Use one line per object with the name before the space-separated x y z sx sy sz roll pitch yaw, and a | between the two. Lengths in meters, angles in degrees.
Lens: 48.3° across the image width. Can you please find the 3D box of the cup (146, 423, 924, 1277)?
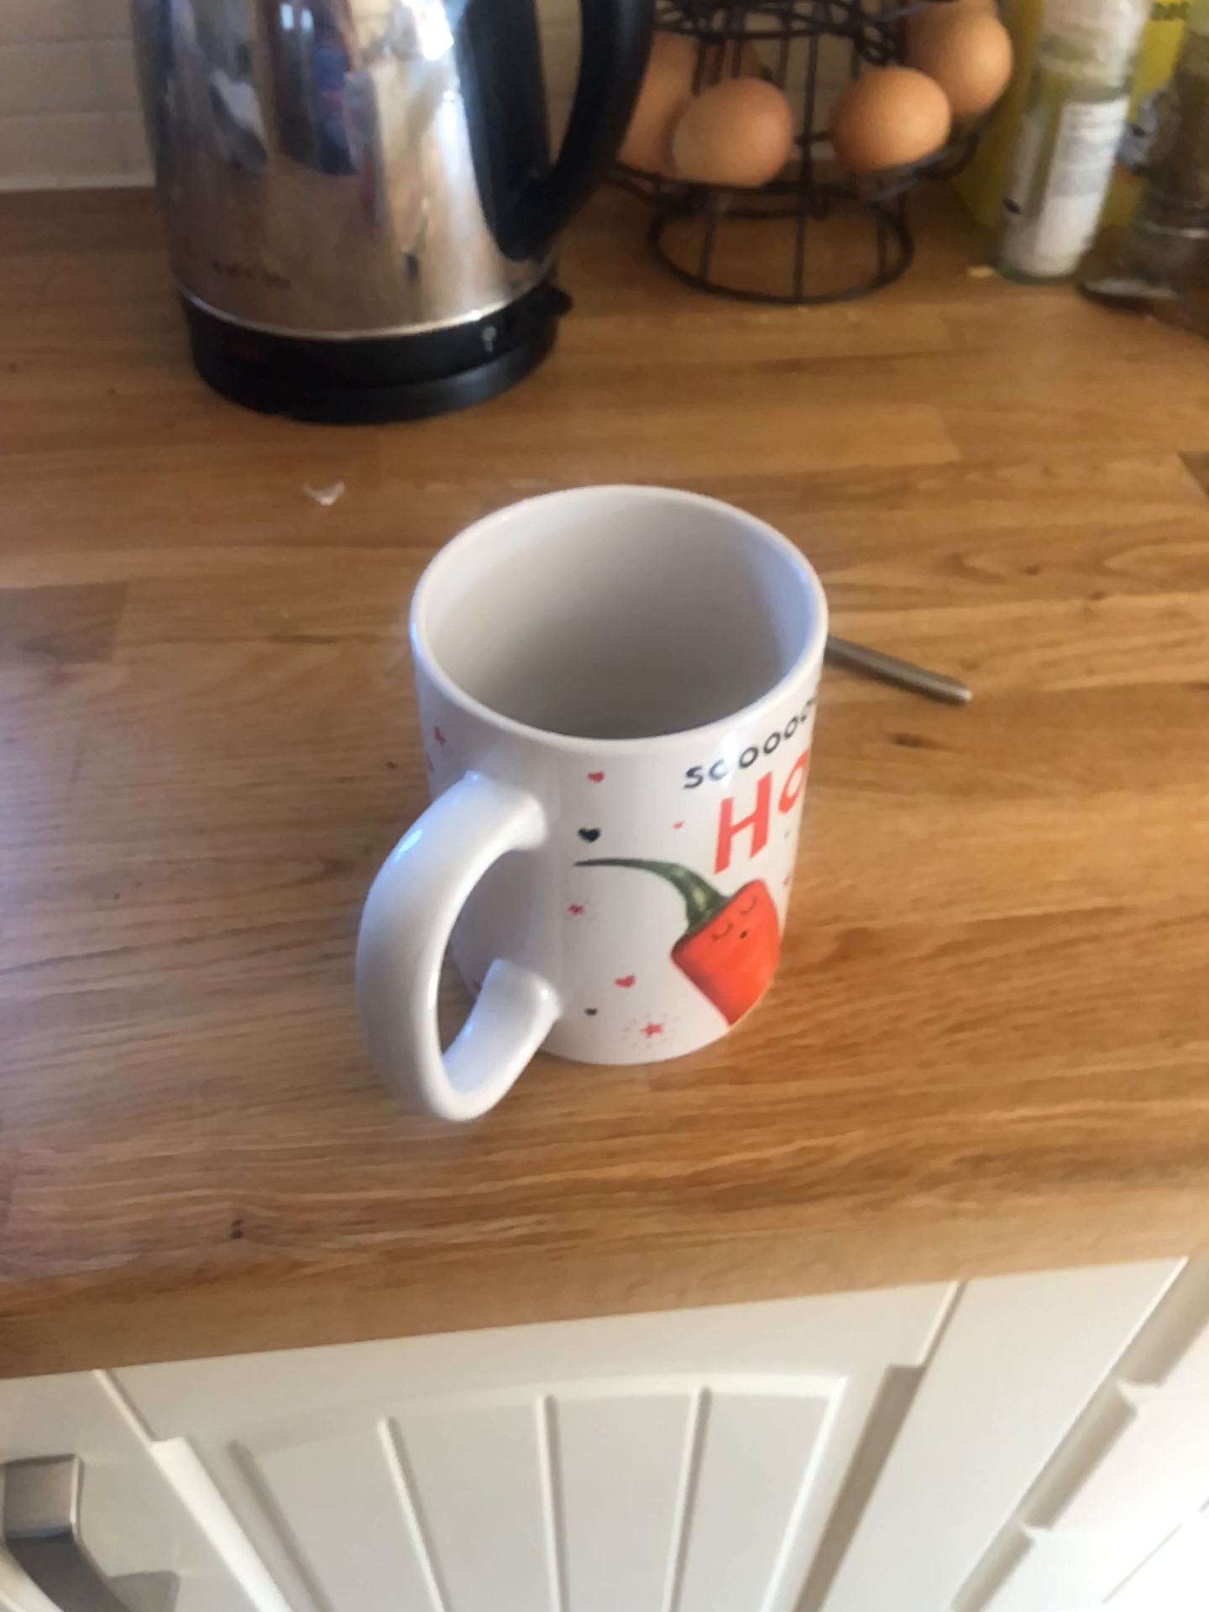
cup | -0.008 0.004 0.313 0.097 0.109 0.137 25 51 22
